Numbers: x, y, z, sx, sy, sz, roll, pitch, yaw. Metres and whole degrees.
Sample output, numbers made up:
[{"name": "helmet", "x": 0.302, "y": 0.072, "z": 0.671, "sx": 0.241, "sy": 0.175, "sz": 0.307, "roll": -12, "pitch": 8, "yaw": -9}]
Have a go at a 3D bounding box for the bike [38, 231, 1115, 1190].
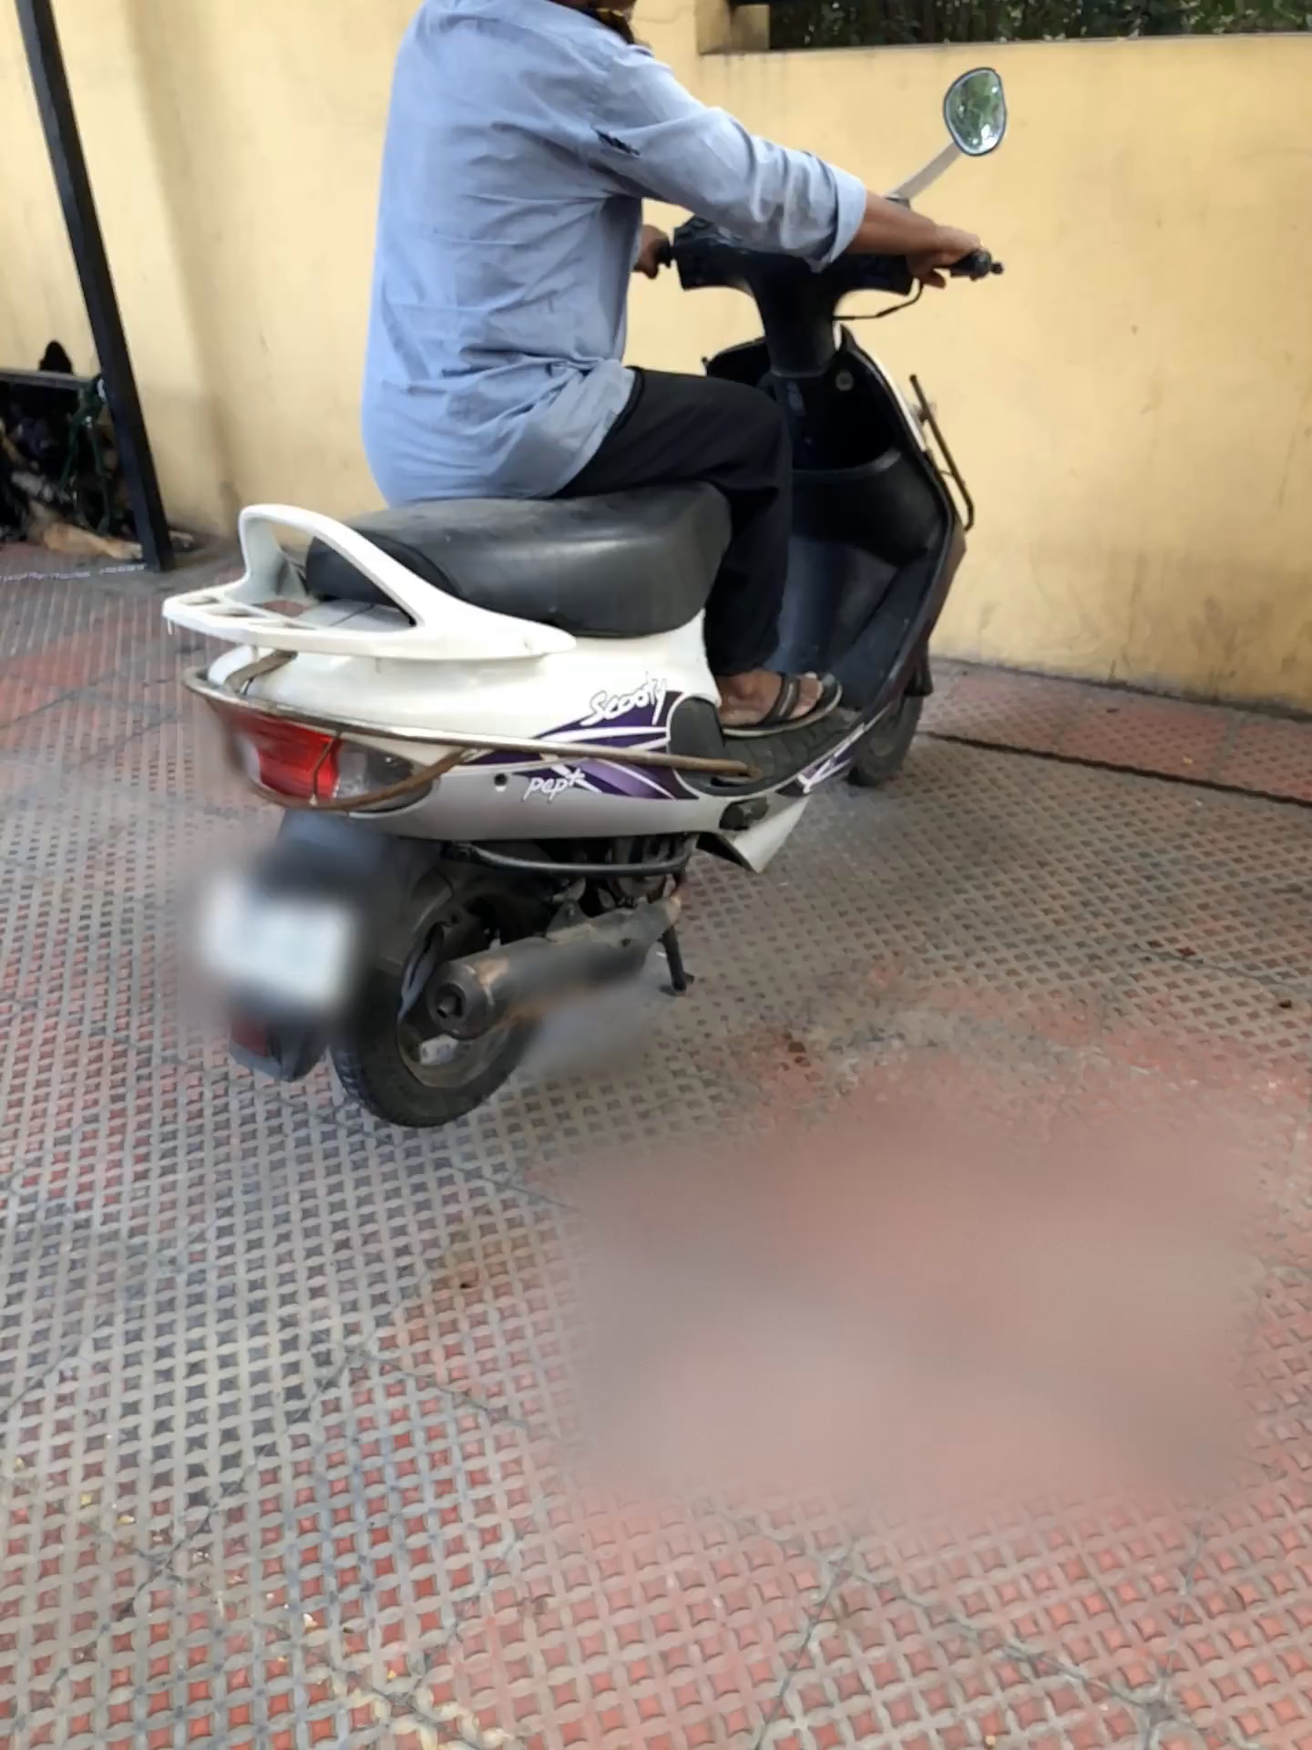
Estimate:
[{"name": "bike", "x": 0.071, "y": -0.416, "z": 2.151, "sx": 0.598, "sy": 0.816, "sz": 1.619, "roll": 17, "pitch": 35, "yaw": 30}]
